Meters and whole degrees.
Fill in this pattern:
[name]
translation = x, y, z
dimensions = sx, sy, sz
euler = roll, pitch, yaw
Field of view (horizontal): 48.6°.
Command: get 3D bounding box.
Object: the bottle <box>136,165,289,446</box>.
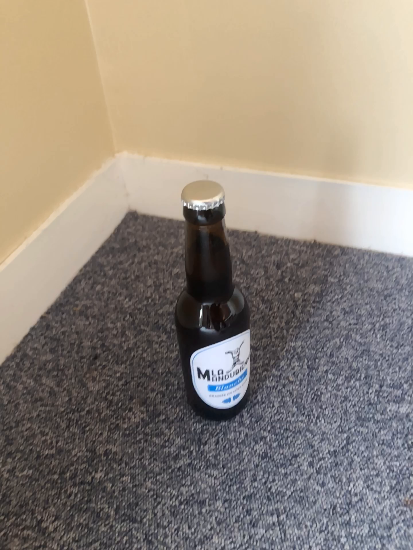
[bottle]
translation = 0.008, 0.034, 0.351
dimensions = 0.070, 0.209, 0.070
euler = -3, 42, 2
